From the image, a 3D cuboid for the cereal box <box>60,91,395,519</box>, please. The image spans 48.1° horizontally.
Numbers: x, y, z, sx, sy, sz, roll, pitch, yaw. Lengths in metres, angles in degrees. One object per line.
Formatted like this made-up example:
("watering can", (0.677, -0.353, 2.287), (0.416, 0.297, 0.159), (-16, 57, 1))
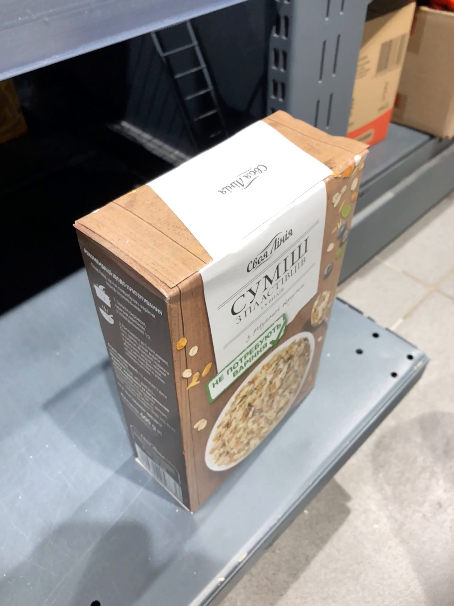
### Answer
("cereal box", (0.009, 0.010, 0.308), (0.060, 0.208, 0.161), (34, 55, 28))
